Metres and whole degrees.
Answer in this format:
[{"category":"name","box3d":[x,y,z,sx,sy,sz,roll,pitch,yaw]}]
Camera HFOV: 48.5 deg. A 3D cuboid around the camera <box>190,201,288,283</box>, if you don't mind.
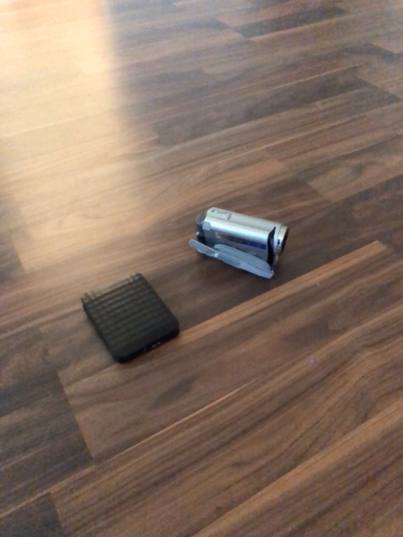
[{"category":"camera","box3d":[0.047,-0.036,0.589,0.115,0.065,0.048,17,47,17]}]
